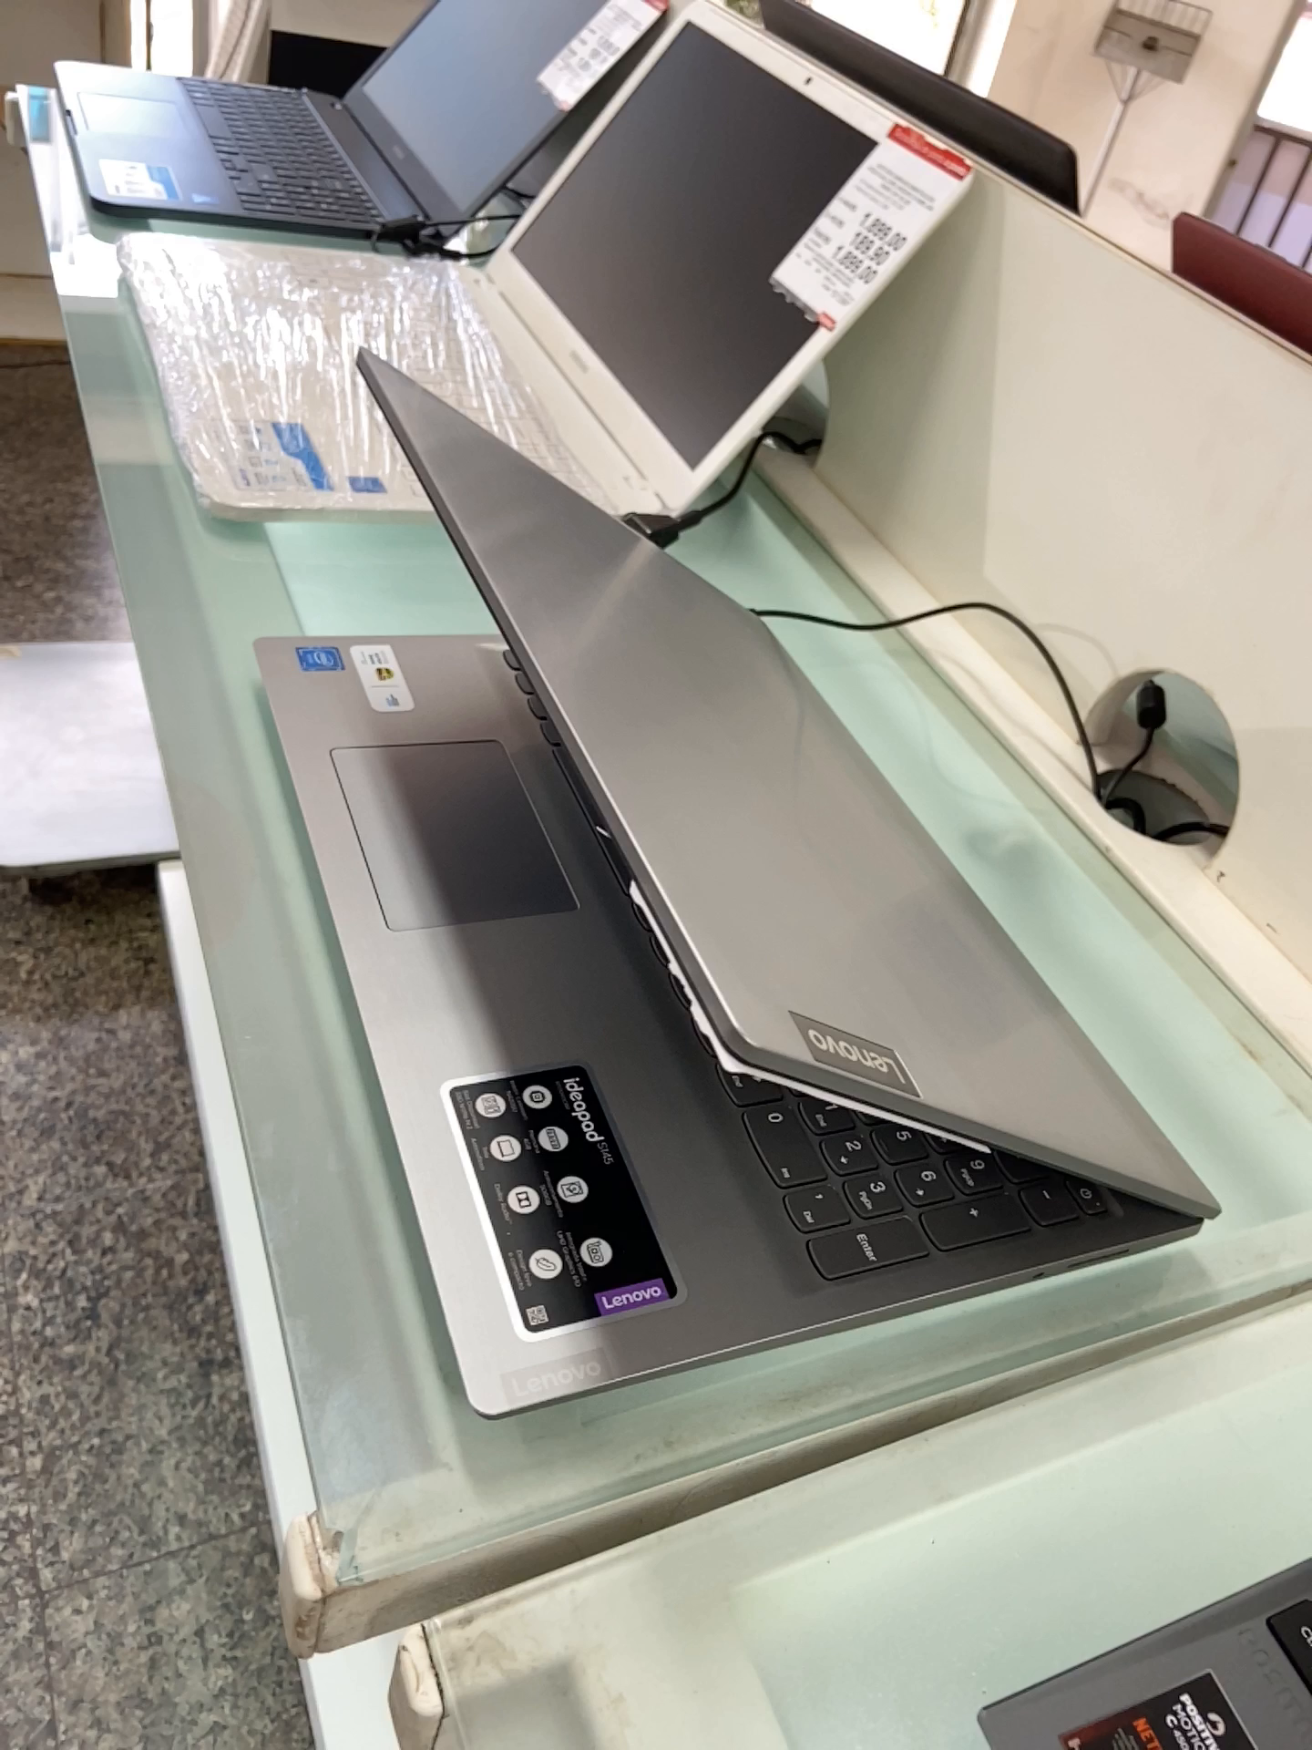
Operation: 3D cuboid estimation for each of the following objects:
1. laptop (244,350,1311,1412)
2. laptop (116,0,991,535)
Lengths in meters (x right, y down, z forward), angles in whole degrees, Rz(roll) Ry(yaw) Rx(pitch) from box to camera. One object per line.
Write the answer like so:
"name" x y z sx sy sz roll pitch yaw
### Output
"laptop" 0.014 -0.042 0.476 0.250 0.127 0.365 -6 43 -24
"laptop" -0.100 -0.401 0.816 0.383 0.202 0.411 -4 42 -22
